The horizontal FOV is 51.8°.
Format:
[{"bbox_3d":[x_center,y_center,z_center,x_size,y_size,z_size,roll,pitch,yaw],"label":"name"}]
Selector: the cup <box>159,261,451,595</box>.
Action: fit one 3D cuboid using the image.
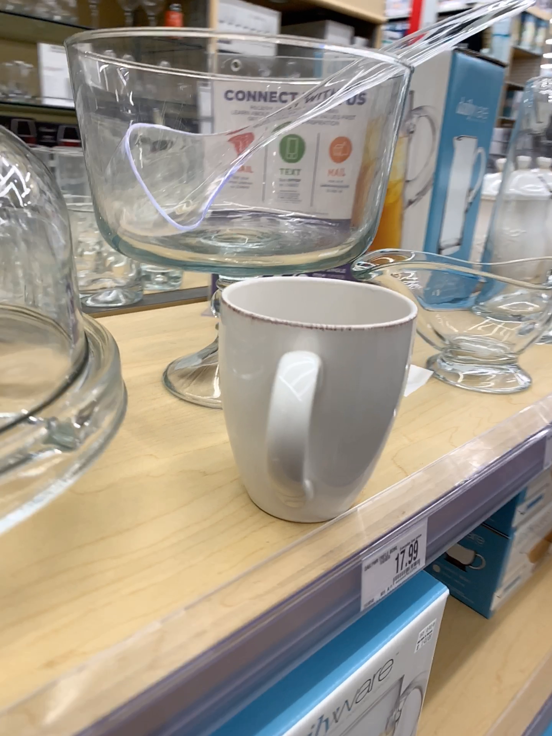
[{"bbox_3d":[0.015,0.014,0.269,0.096,0.094,0.131,9,21,6],"label":"cup"}]
